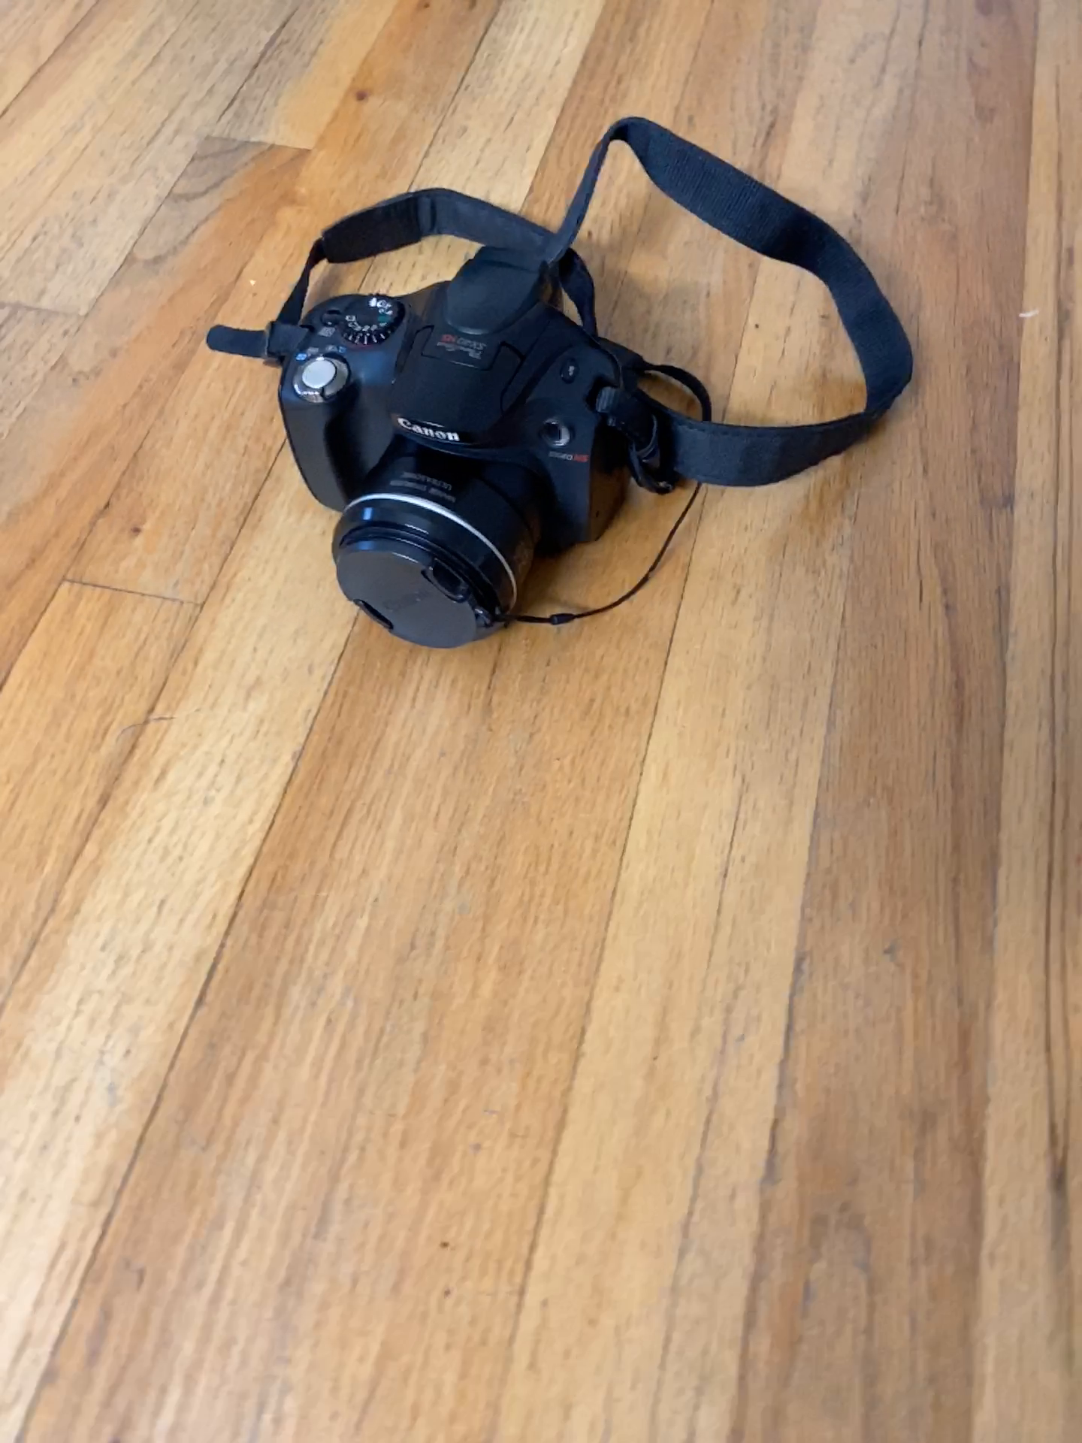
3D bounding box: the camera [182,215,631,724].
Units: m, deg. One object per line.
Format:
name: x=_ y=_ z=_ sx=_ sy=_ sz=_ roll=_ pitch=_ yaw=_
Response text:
camera: x=-0.037 y=-0.089 z=0.403 sx=0.110 sy=0.110 sz=0.120 roll=13 pitch=61 yaw=10
